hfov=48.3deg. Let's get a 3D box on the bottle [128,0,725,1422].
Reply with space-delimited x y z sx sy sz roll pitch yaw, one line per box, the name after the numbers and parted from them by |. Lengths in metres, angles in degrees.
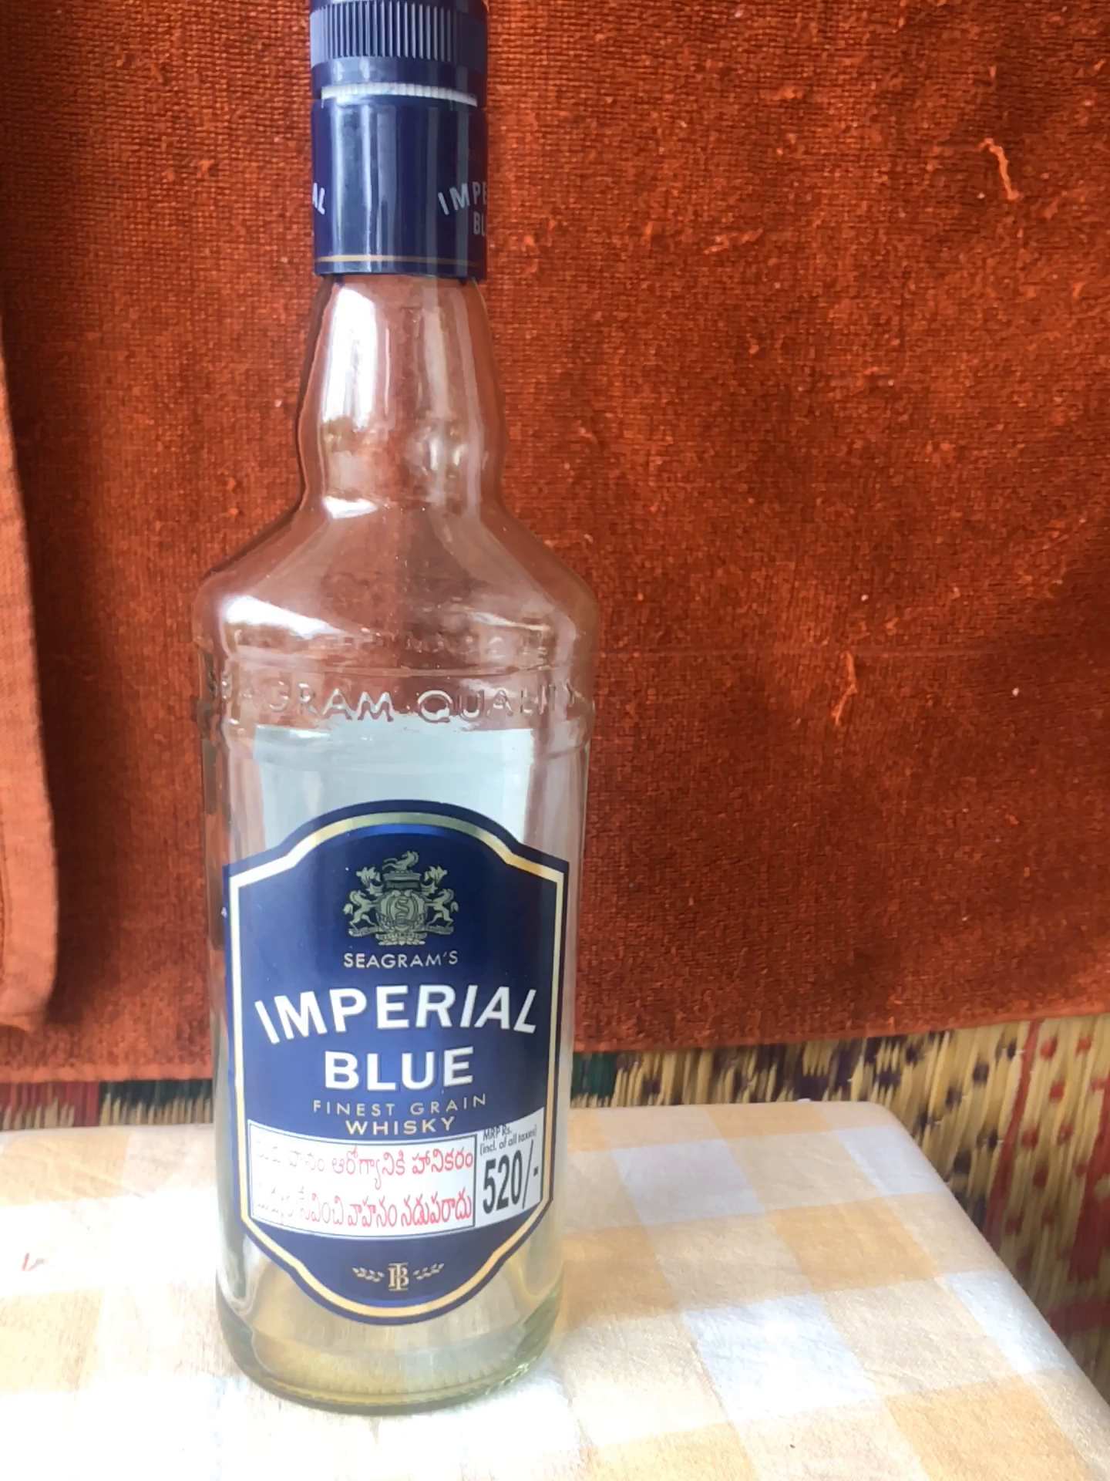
-0.032 -0.008 0.265 0.090 0.309 0.070 2 17 -6 | bottle
